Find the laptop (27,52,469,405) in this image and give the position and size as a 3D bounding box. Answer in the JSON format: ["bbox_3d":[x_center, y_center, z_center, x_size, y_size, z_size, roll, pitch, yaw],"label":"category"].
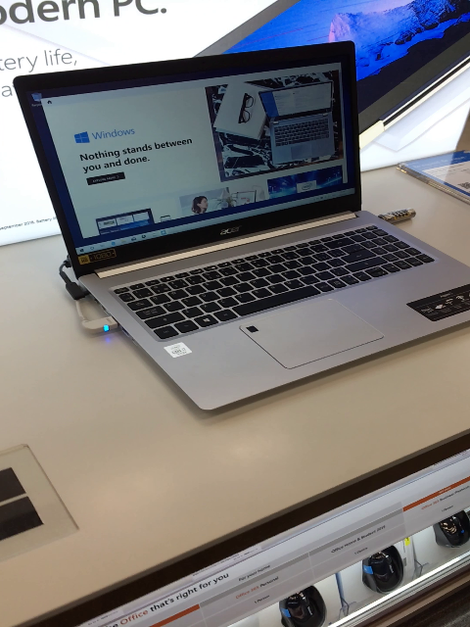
[{"bbox_3d":[0.059,-0.116,0.634,0.385,0.201,0.304,-19,45,-26],"label":"laptop"}]
